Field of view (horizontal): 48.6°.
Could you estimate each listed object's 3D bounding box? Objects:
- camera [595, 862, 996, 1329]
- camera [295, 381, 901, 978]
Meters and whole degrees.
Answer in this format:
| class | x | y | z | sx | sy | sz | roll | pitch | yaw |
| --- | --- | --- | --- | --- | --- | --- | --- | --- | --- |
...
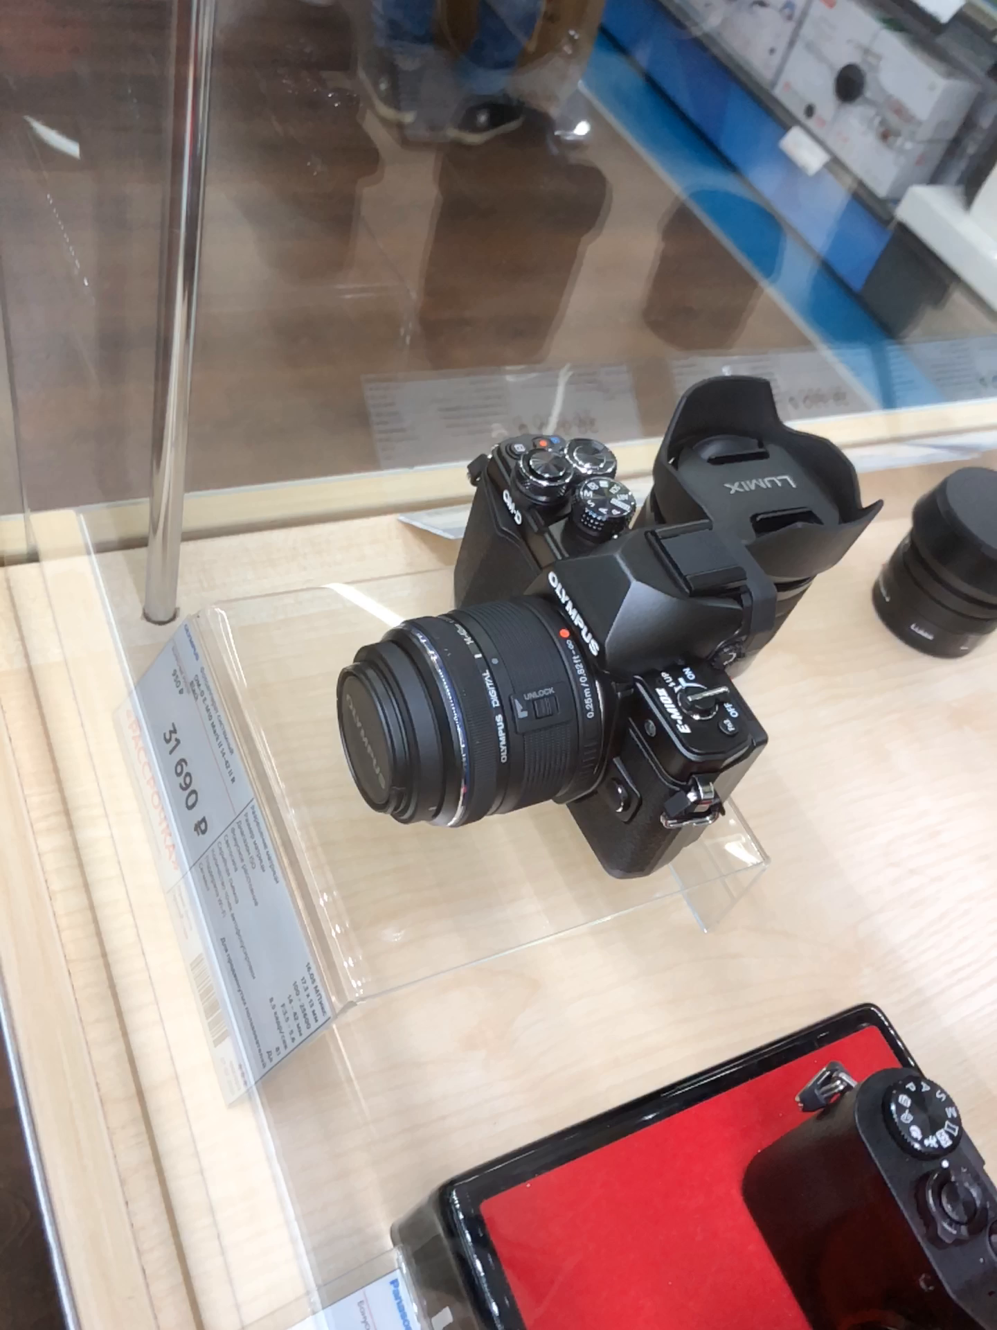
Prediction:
| class | x | y | z | sx | sy | sz | roll | pitch | yaw |
| --- | --- | --- | --- | --- | --- | --- | --- | --- | --- |
| camera | 0.091 | 0.121 | 0.195 | 0.072 | 0.109 | 0.118 | -11 | 55 | -26 |
| camera | 0.016 | -0.001 | 0.302 | 0.101 | 0.088 | 0.118 | -11 | 55 | -26 |
